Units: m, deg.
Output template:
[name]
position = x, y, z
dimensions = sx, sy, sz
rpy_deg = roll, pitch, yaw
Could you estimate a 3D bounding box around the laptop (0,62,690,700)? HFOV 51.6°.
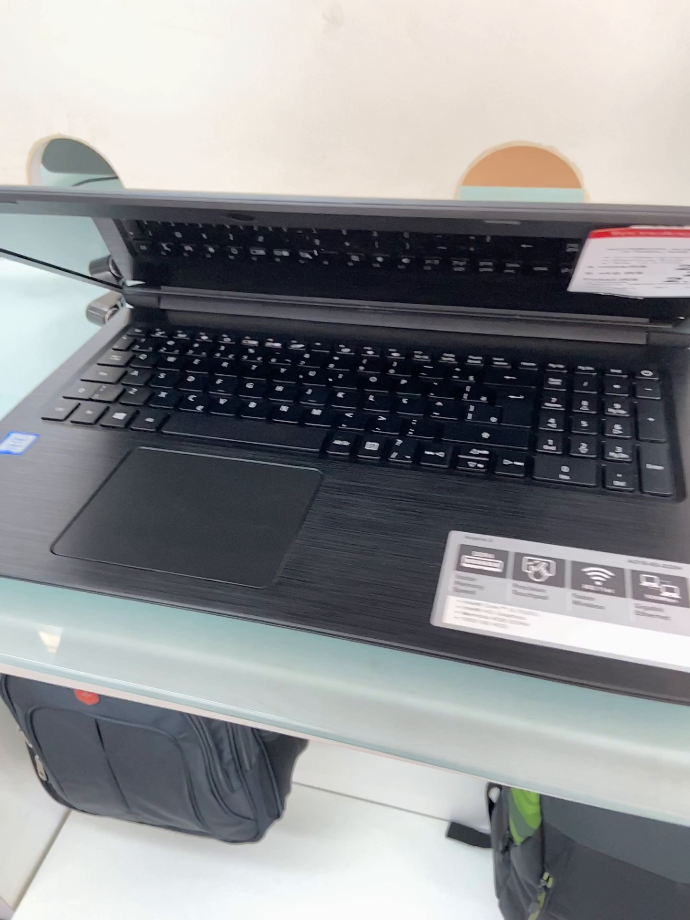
[laptop]
position = -0.016, -0.068, 0.319
dimensions = 0.367, 0.142, 0.234
rpy_deg = 6, 39, 15
